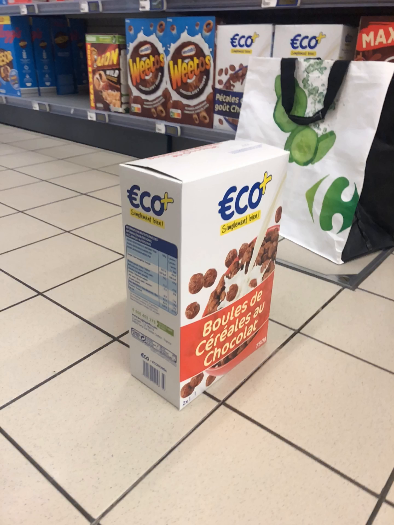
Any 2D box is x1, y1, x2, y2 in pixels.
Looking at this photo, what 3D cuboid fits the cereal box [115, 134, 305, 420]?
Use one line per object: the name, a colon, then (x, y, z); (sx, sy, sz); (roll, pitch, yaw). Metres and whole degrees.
cereal box: (0.020, 0.006, 0.556); (0.100, 0.298, 0.211); (23, 33, 38)
